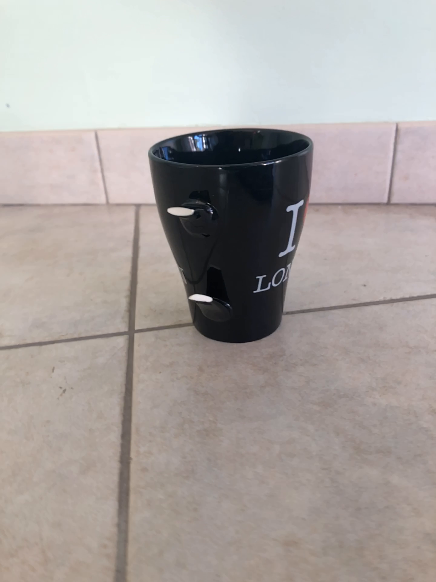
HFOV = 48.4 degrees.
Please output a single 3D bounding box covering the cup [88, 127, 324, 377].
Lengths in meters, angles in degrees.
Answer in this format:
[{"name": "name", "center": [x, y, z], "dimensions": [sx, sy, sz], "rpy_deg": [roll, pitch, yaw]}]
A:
[{"name": "cup", "center": [0.004, -0.031, 0.283], "dimensions": [0.097, 0.103, 0.108], "rpy_deg": [5, 30, 16]}]
